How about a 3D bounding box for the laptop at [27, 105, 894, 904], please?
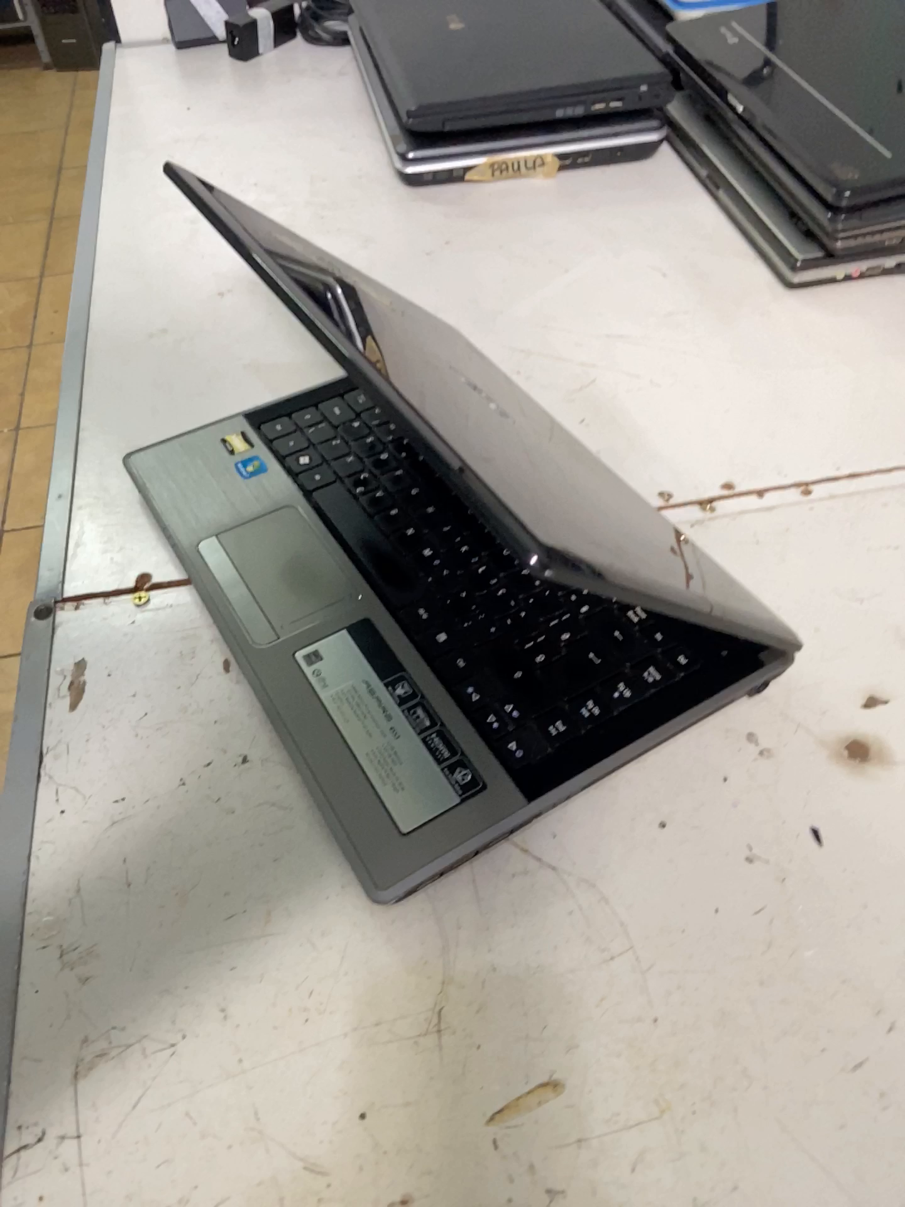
[{"bbox_3d":[-0.023,-0.080,0.457,0.226,0.157,0.335,-26,53,-19],"label":"laptop"}]
